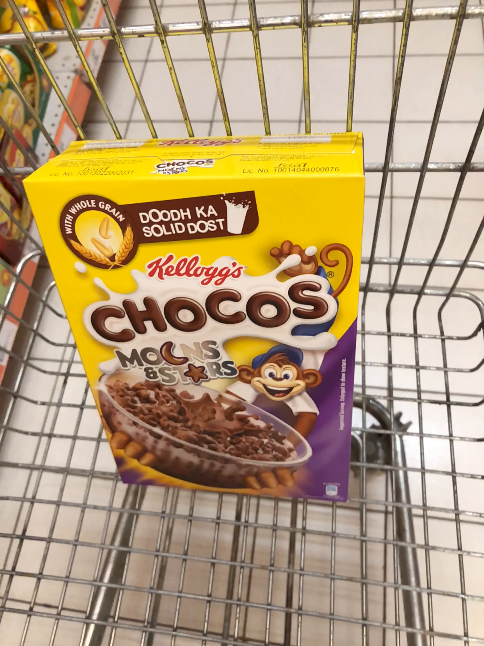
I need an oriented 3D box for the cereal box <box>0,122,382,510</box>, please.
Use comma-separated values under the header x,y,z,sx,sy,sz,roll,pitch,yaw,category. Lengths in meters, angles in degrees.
x,y,z,sx,sy,sz,roll,pitch,yaw,category
-0.017,0.009,0.356,0.190,0.249,0.070,1,35,9,cereal box
